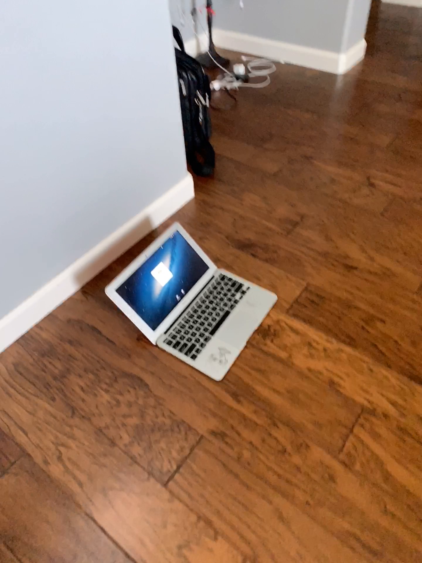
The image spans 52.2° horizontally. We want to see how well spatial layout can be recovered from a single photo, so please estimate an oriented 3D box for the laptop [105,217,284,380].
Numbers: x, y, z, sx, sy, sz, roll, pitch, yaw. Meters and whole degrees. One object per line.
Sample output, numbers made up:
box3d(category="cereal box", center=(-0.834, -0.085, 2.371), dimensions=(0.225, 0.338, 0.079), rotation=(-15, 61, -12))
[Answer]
box3d(category="laptop", center=(-0.033, 0.024, 1.082), dimensions=(0.323, 0.117, 0.294), rotation=(26, 55, 22))
